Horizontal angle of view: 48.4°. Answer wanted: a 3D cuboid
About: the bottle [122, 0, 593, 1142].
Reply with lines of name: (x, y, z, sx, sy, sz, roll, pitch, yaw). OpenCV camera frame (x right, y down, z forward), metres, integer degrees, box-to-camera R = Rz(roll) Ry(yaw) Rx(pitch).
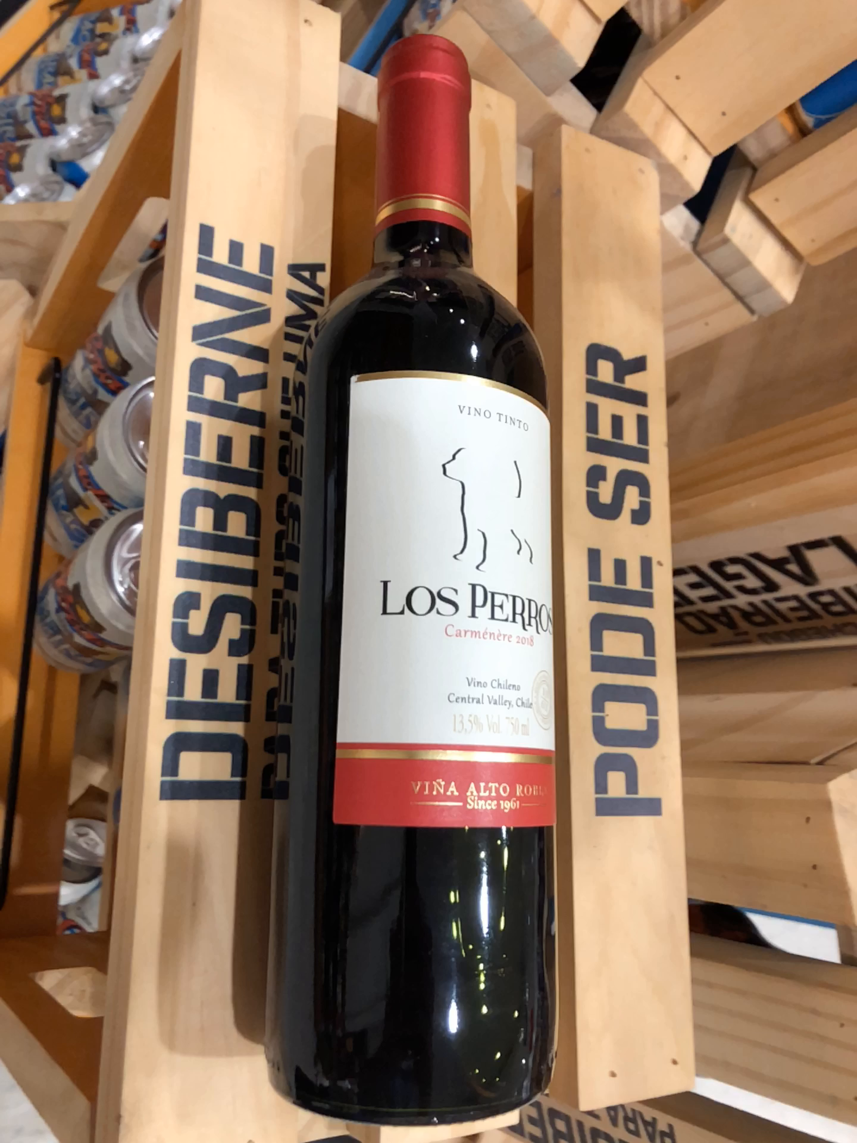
bottle: (-0.013, -0.023, 0.248, 0.090, 0.060, 0.310, 8, 77, -33)
